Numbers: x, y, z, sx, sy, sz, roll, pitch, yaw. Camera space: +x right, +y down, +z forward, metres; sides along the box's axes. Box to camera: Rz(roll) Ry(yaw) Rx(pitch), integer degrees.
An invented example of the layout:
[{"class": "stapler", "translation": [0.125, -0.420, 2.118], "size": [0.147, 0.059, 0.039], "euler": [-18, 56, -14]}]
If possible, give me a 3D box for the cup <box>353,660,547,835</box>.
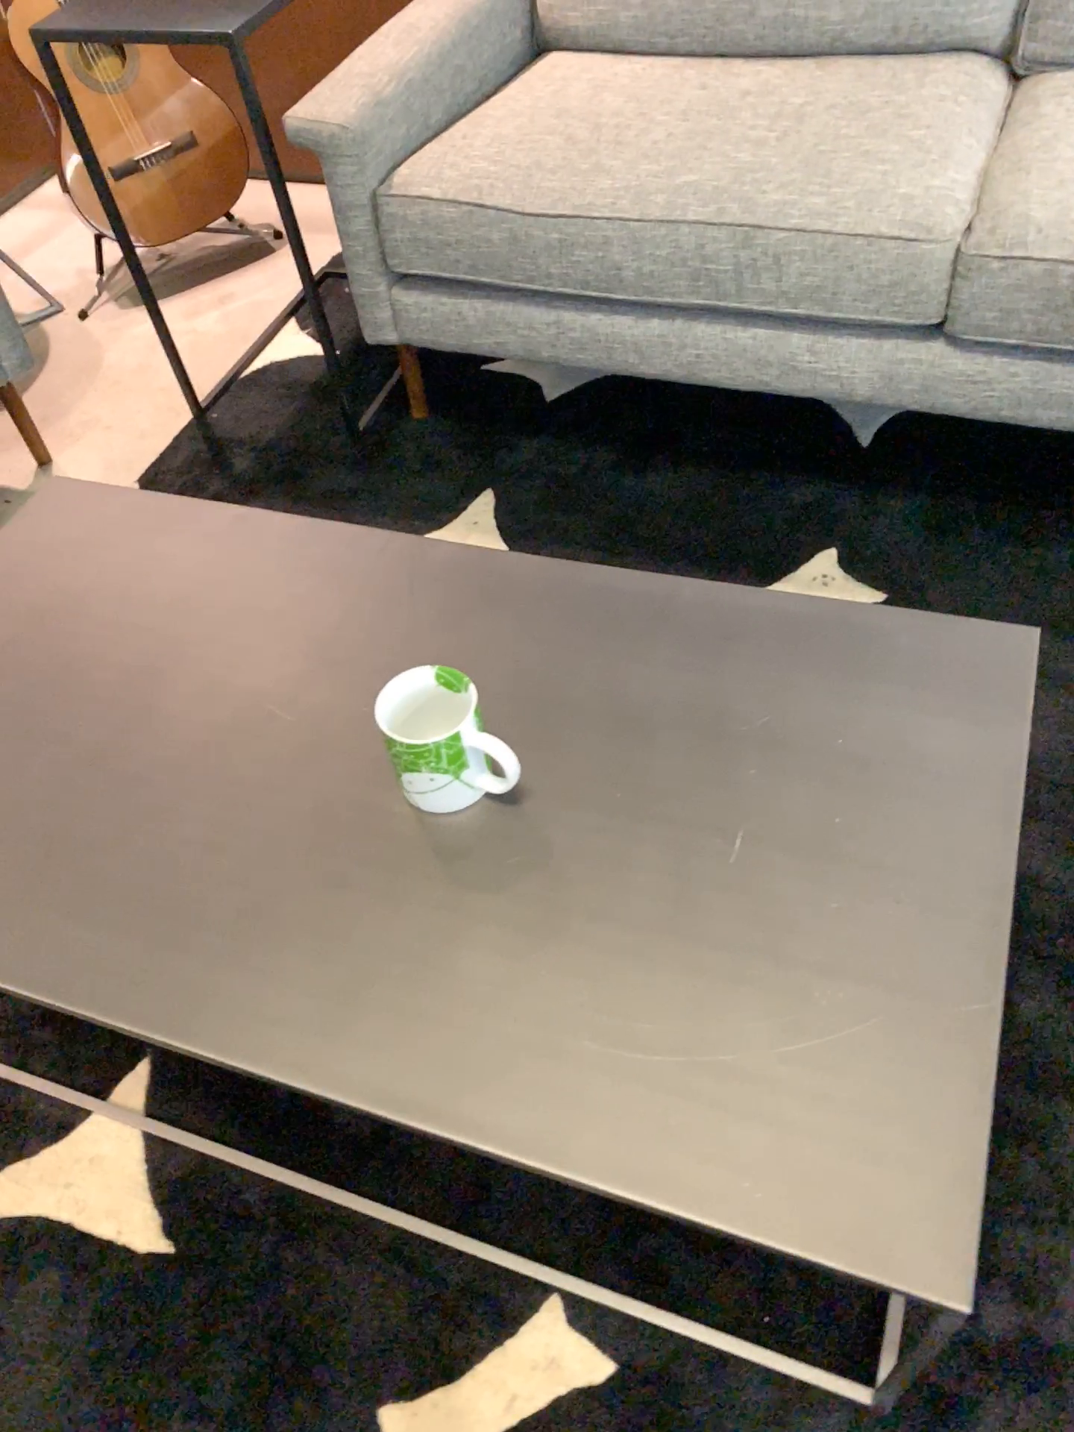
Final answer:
[{"class": "cup", "translation": [-0.065, 0.025, 0.868], "size": [0.120, 0.090, 0.090], "euler": [6, 51, 14]}]
